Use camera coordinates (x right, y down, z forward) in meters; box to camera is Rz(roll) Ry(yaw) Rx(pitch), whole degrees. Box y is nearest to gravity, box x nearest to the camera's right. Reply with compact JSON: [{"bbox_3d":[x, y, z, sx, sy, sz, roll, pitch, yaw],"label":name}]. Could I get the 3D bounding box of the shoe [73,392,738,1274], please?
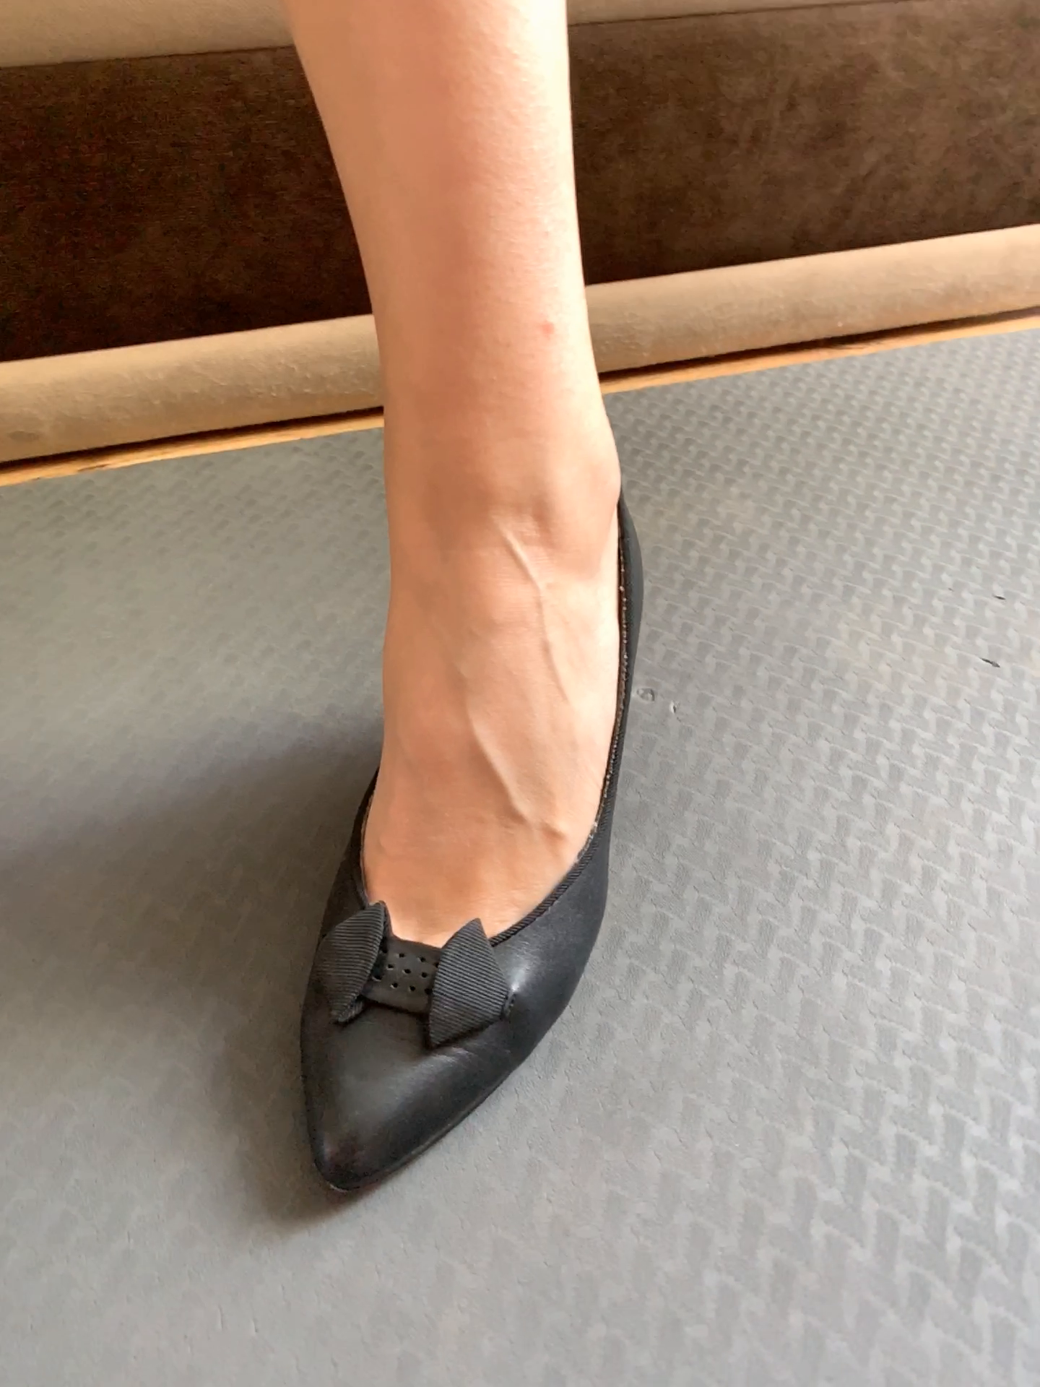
[{"bbox_3d":[-0.006,0.014,0.307,0.090,0.099,0.231,11,42,14],"label":"shoe"}]
